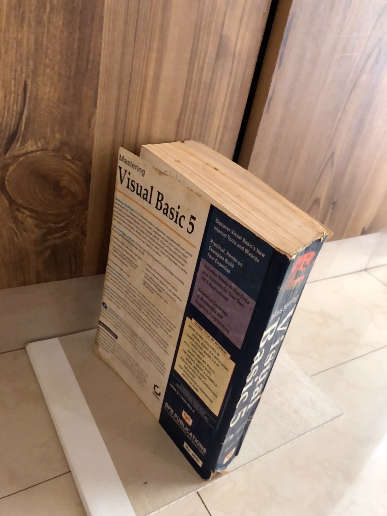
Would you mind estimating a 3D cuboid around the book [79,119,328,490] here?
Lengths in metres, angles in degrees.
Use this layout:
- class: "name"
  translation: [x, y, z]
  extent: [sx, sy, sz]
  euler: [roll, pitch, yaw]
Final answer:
- class: "book"
  translation: [-0.023, 0.035, 0.384]
  extent: [0.060, 0.249, 0.210]
  euler: [-17, 41, -37]
